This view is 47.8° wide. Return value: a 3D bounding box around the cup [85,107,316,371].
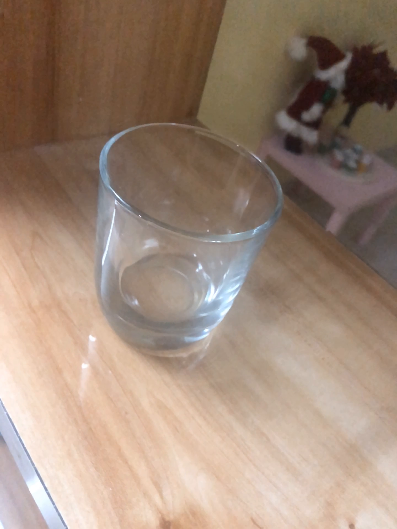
[{"bbox_3d":[-0.011,-0.012,0.229,0.080,0.090,0.090,-1,47,-19],"label":"cup"}]
